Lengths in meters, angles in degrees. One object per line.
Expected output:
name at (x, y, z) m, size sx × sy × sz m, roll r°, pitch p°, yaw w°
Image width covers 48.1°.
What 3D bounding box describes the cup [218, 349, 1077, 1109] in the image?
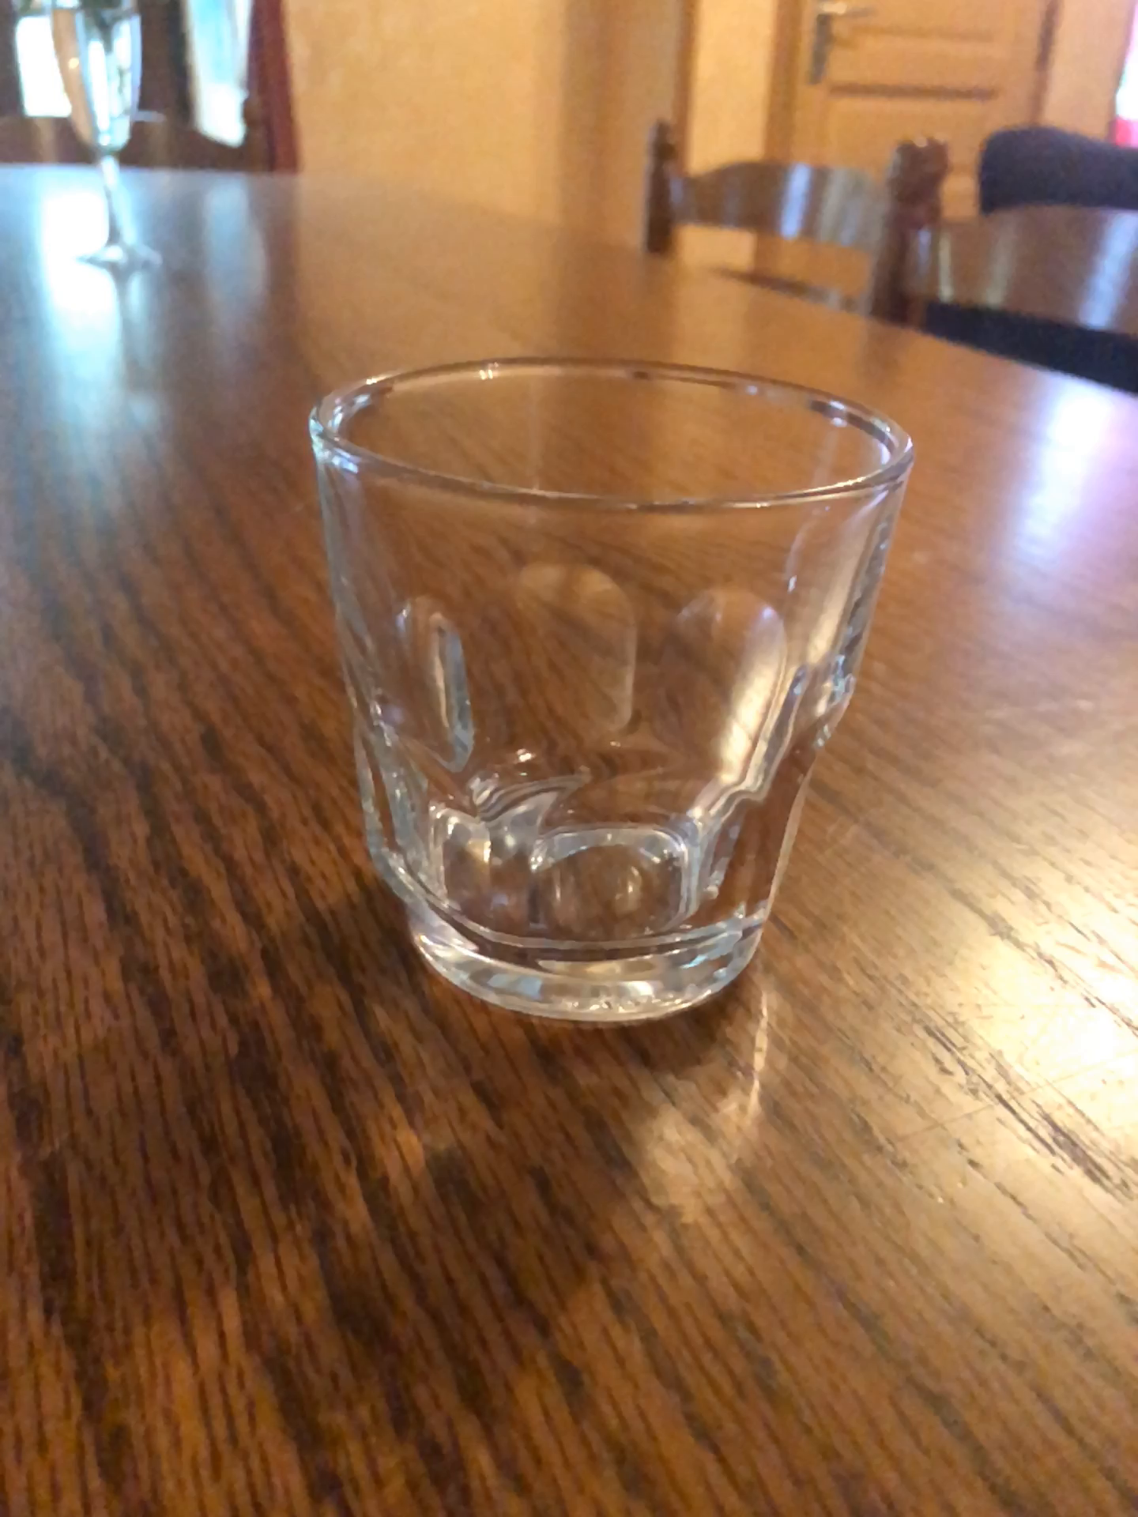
cup at (0.006, -0.015, 0.186) m, size 0.083 × 0.069 × 0.082 m, roll 2°, pitch 27°, yaw -1°
